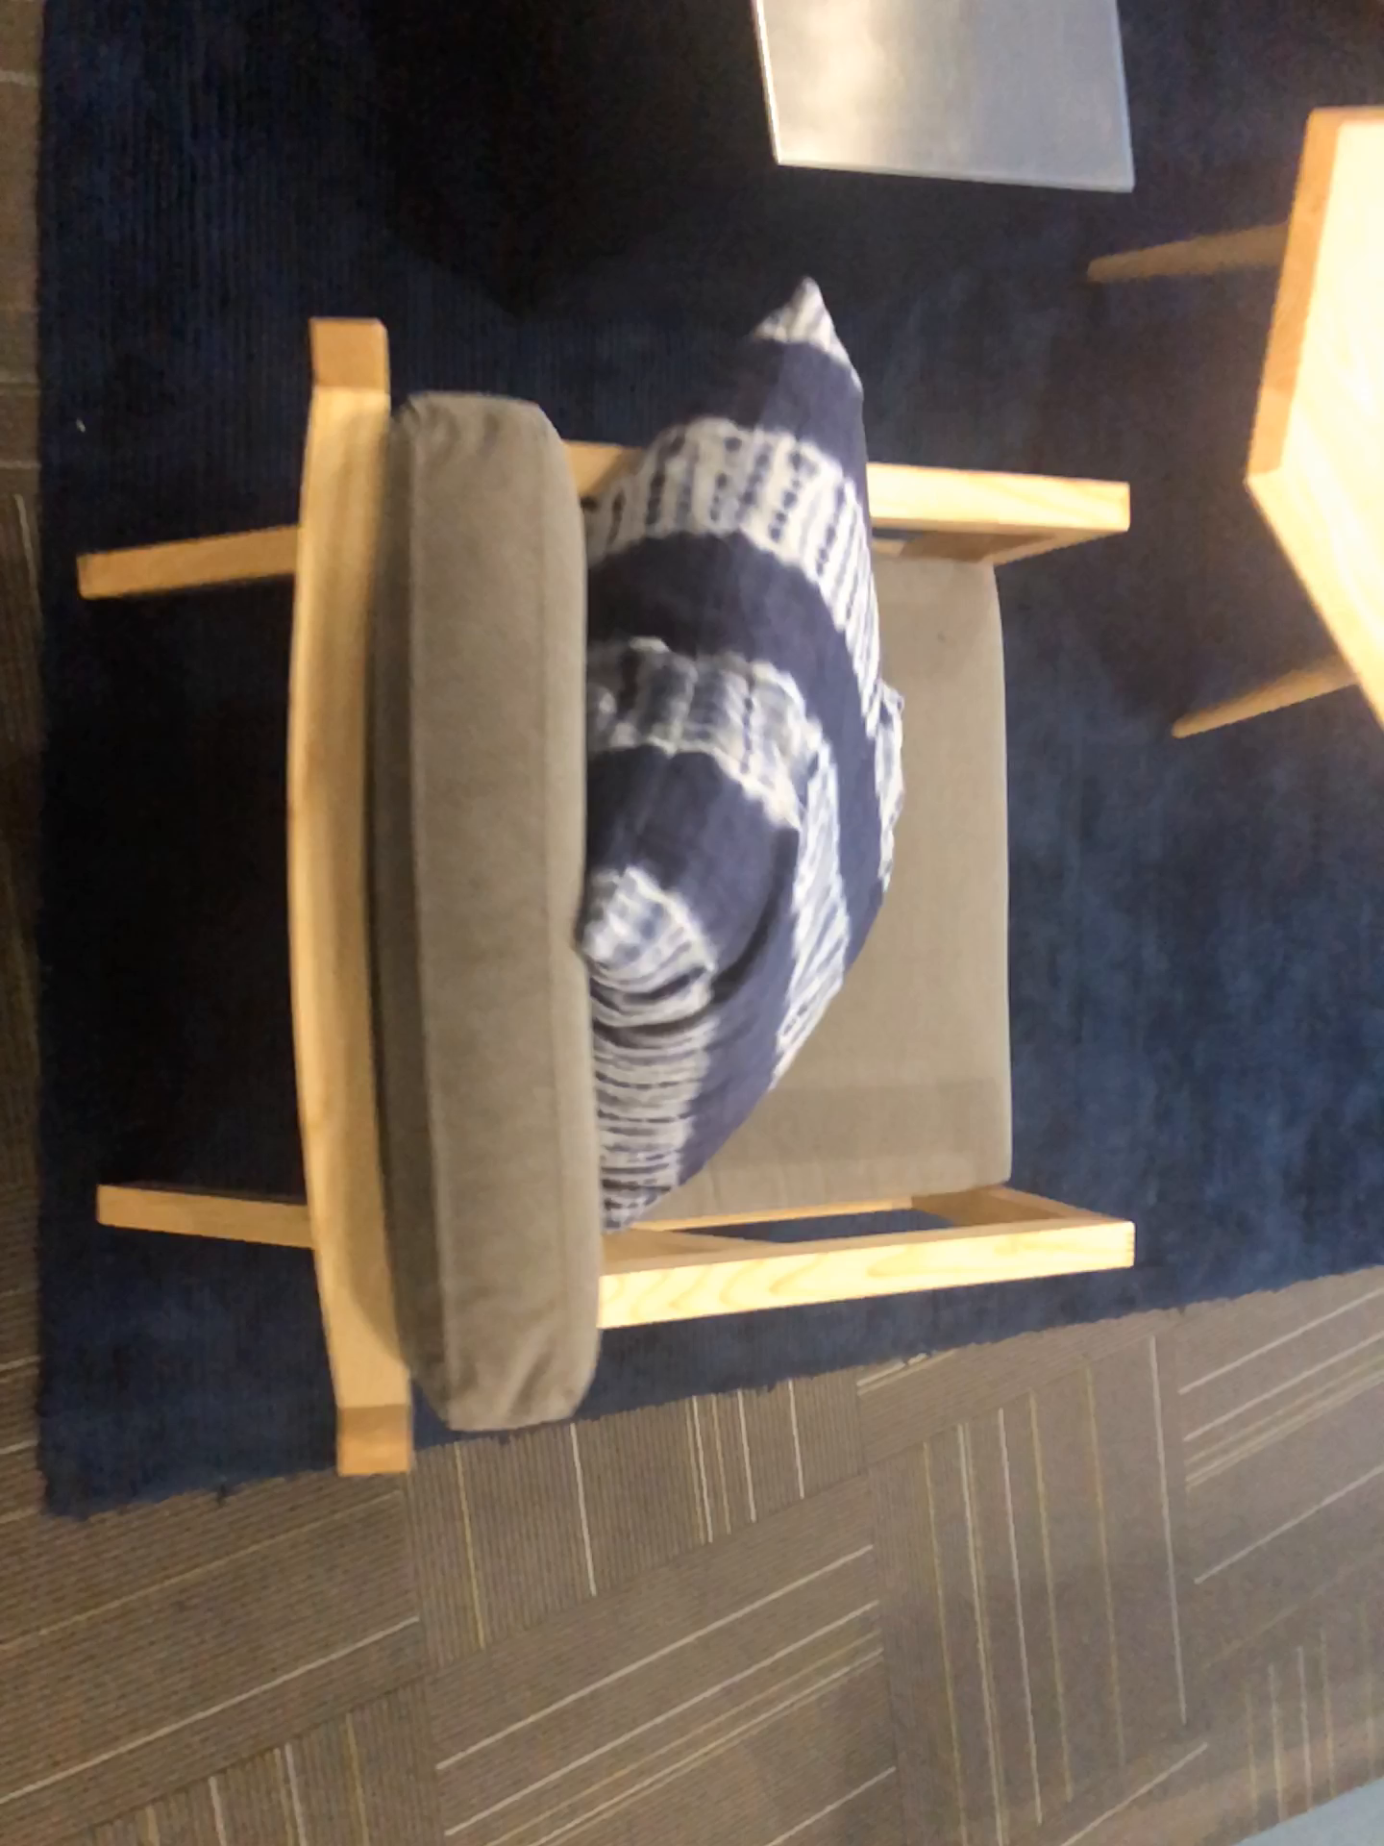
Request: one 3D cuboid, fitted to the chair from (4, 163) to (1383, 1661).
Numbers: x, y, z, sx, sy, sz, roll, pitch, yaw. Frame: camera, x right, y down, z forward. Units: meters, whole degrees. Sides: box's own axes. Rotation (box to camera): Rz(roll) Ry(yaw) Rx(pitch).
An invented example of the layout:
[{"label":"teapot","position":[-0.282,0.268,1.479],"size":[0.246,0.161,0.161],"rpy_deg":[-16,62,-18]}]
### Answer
[{"label":"chair","position":[-0.037,-0.014,1.234],"size":[0.835,0.776,0.670],"rpy_deg":[0,92,-34]}]
